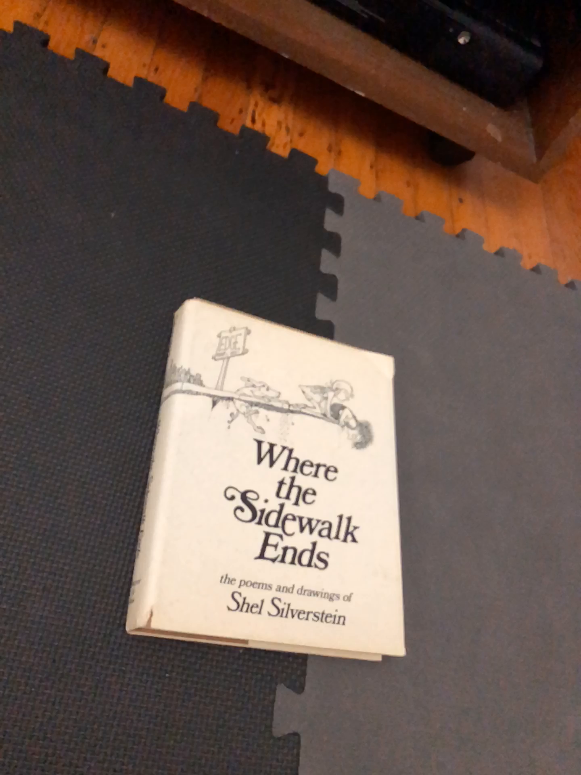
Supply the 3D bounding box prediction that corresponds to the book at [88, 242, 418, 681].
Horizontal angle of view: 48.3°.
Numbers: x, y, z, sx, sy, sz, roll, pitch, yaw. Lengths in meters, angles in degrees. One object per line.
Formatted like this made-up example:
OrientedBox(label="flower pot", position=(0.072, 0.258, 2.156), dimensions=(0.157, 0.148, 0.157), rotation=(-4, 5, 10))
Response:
OrientedBox(label="book", position=(-0.010, 0.044, 0.457), dimensions=(0.200, 0.030, 0.281), rotation=(15, 57, -20))
